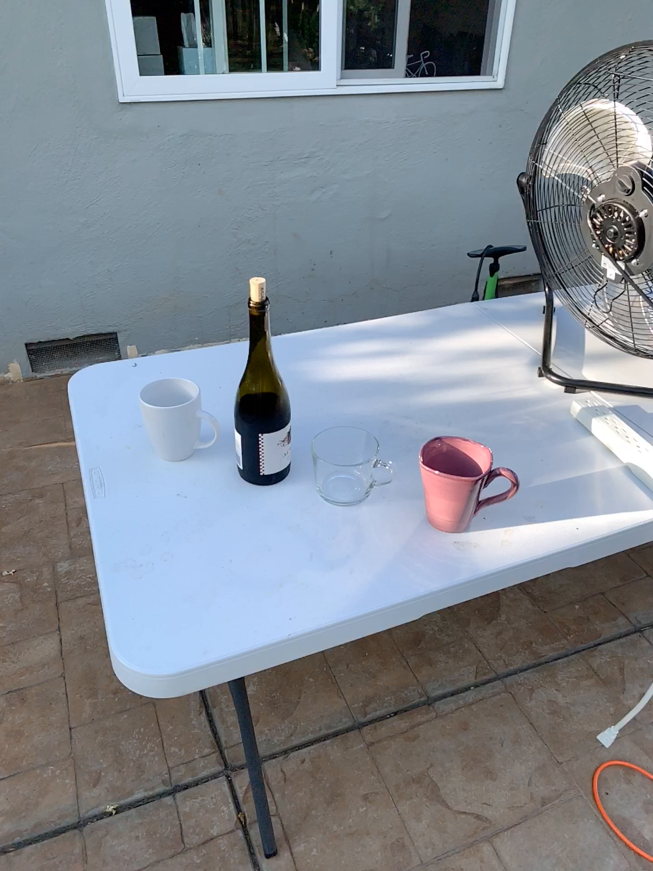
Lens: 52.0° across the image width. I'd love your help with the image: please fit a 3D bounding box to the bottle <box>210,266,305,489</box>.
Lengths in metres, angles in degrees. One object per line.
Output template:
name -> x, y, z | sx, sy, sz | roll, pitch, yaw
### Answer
bottle -> -0.093, -0.080, 0.986 | 0.101, 0.303, 0.103 | 1, 34, -1
